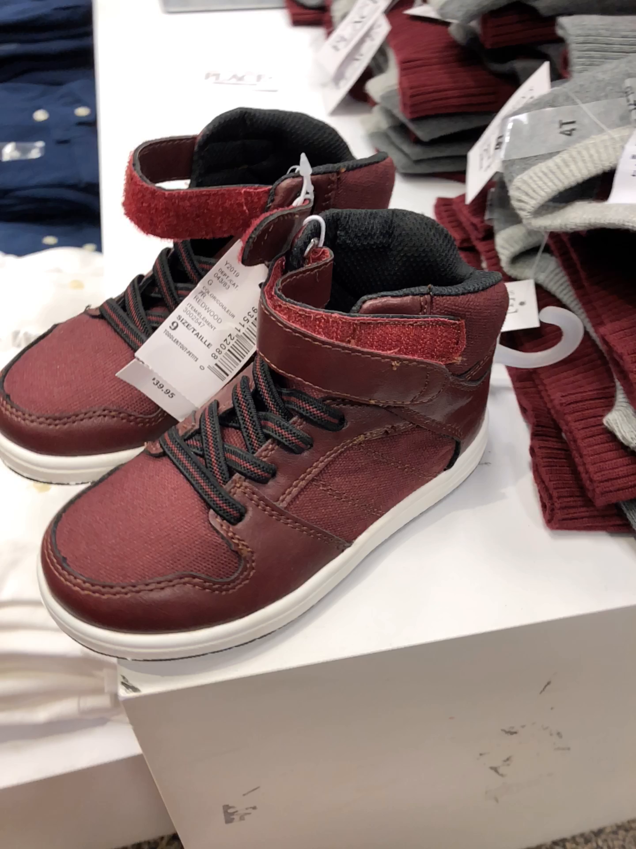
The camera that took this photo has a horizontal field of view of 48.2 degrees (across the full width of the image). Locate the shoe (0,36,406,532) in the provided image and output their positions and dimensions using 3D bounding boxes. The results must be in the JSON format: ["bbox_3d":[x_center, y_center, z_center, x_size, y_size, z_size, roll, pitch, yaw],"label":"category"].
[{"bbox_3d":[-0.059,-0.054,0.251,0.160,0.100,0.070,-30,59,-26],"label":"shoe"}]

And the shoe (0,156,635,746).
[{"bbox_3d":[0.000,0.001,0.237,0.180,0.100,0.080,-30,59,-26],"label":"shoe"}]
